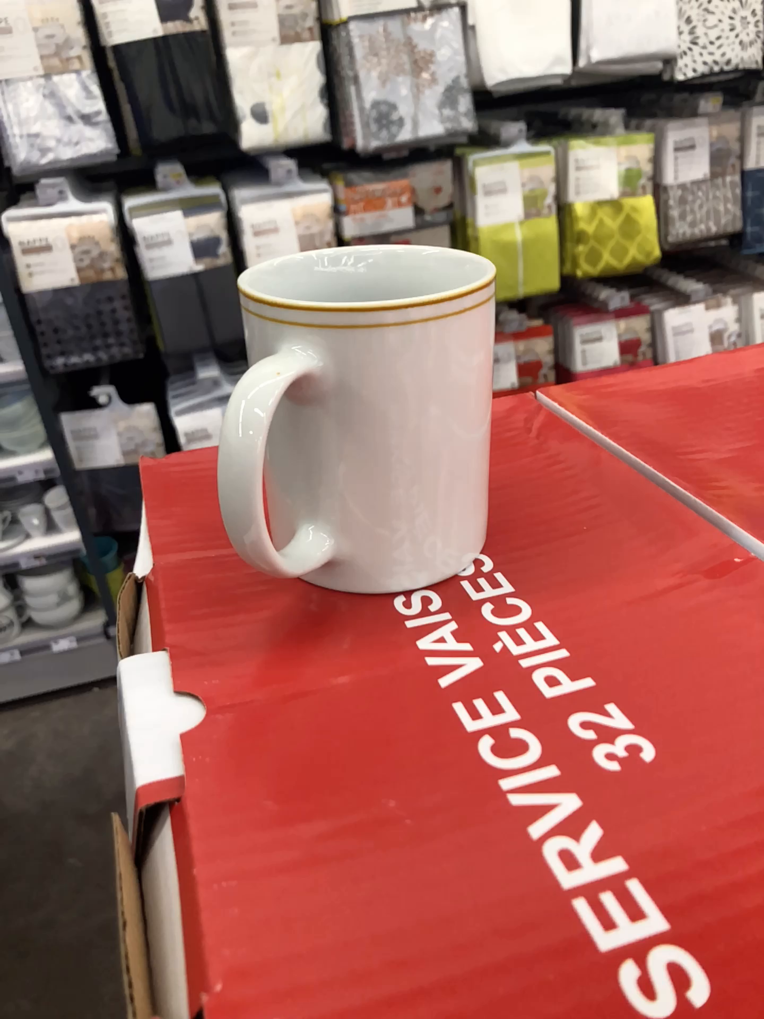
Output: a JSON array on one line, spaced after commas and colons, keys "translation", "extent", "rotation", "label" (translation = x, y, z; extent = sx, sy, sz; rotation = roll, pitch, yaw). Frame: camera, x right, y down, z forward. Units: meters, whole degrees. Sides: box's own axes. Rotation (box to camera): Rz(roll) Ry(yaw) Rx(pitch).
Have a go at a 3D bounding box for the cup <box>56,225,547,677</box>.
[{"translation": [-0.015, -0.030, 0.273], "extent": [0.096, 0.091, 0.116], "rotation": [13, 35, 31], "label": "cup"}]
